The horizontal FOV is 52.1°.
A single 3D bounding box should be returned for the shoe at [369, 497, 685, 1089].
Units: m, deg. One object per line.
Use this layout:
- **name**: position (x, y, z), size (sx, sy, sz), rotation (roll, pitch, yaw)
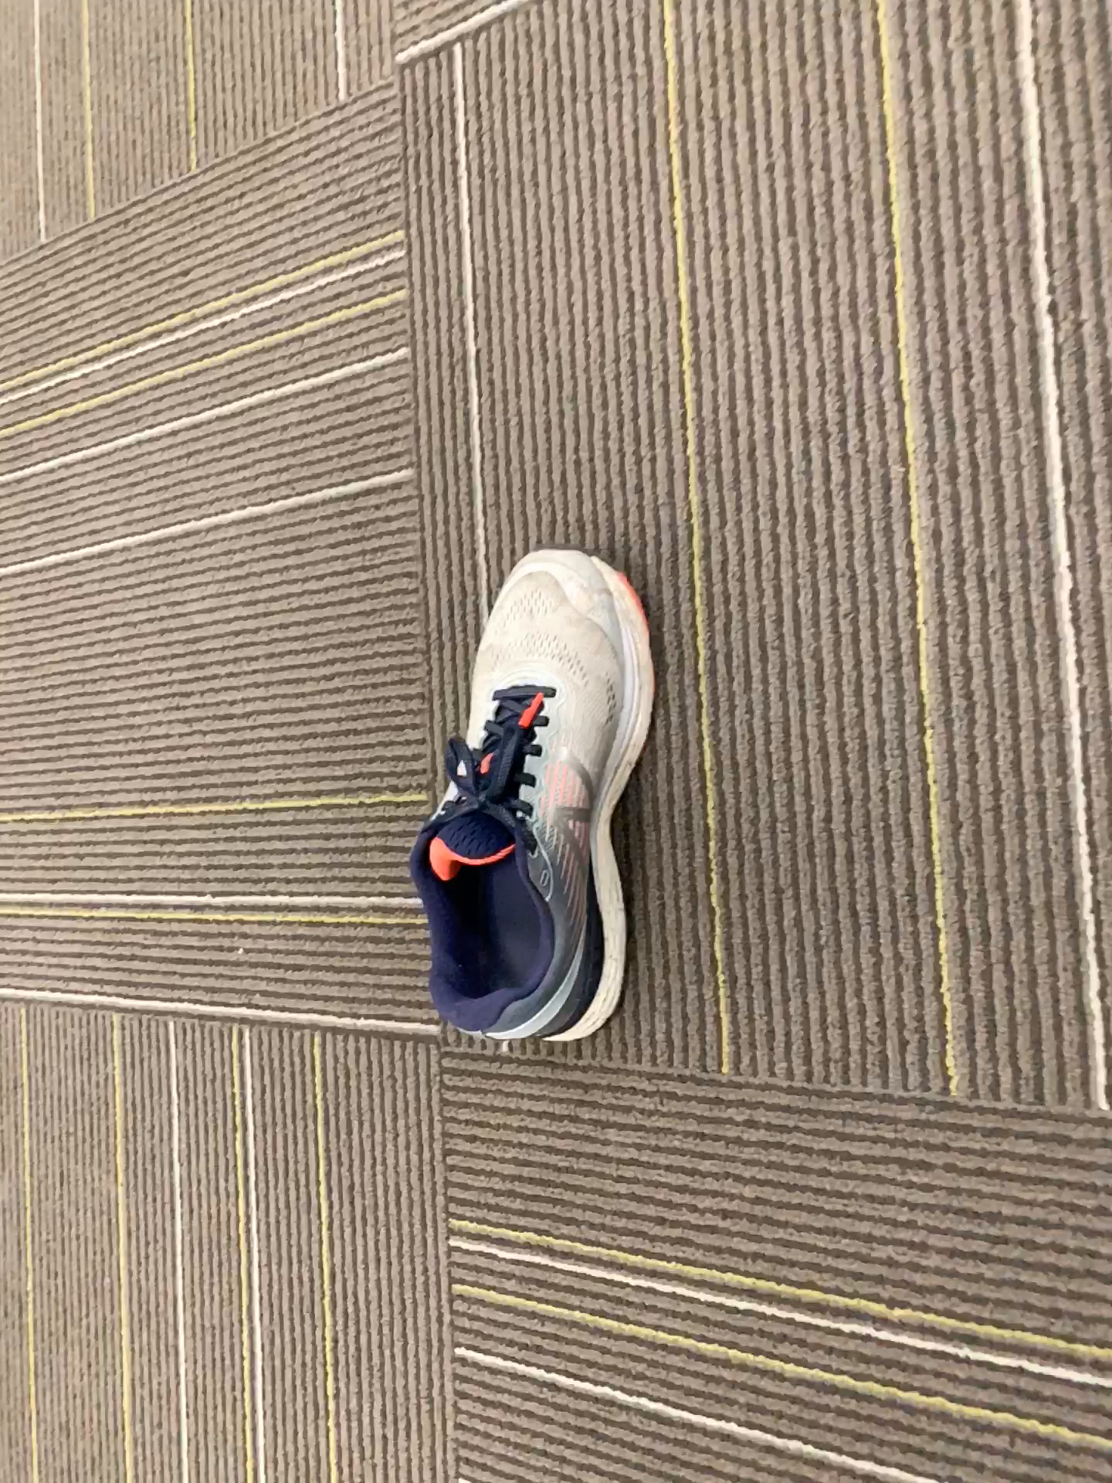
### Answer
- **shoe**: position (-0.017, 0.022, 0.624), size (0.131, 0.080, 0.290), rotation (5, 92, 33)
